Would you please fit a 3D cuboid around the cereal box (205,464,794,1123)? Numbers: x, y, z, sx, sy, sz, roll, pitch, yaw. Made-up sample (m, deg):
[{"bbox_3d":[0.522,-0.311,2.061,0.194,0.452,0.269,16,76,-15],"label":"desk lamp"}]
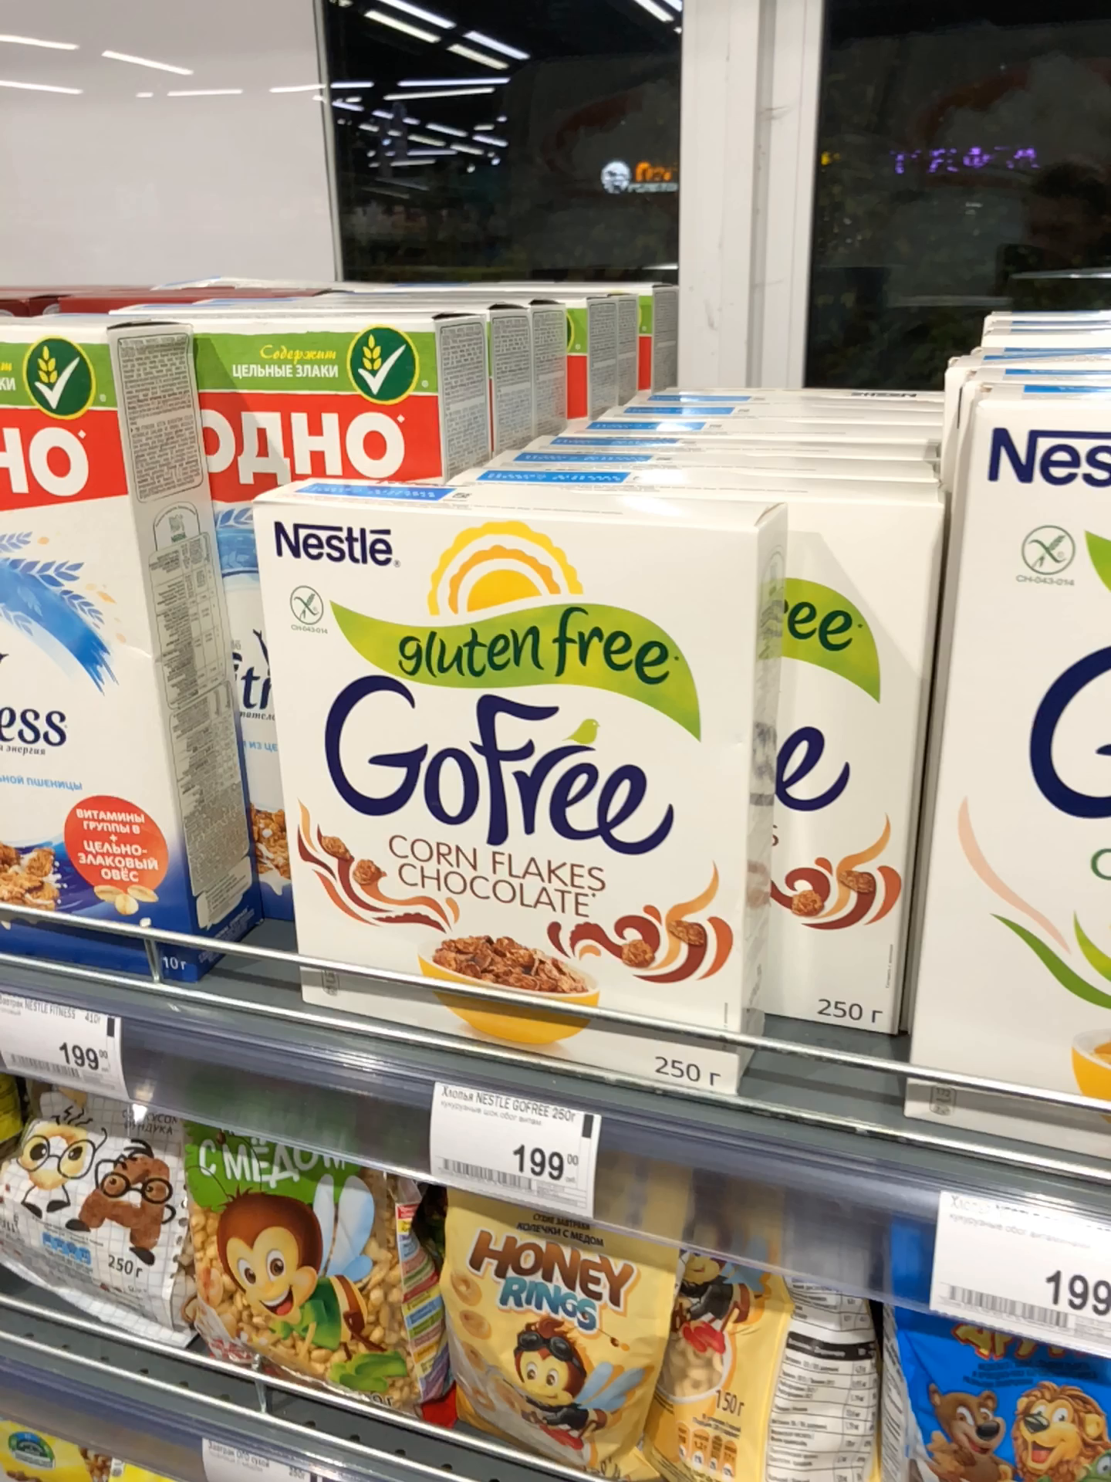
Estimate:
[{"bbox_3d":[-0.021,0.013,0.466,0.200,0.219,0.060,7,21,21],"label":"cereal box"}]
